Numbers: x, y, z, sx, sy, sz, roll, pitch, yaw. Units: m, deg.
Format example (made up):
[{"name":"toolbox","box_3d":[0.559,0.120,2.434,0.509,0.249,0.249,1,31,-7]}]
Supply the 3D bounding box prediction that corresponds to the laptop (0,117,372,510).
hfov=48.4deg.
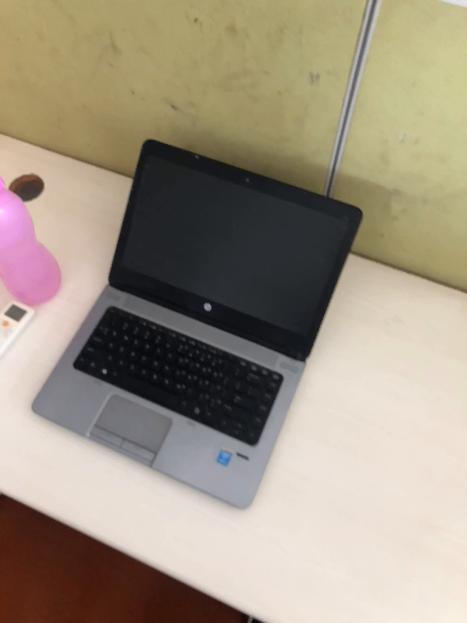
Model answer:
[{"name":"laptop","box_3d":[-0.052,-0.013,0.697,0.326,0.148,0.407,21,68,11]}]
